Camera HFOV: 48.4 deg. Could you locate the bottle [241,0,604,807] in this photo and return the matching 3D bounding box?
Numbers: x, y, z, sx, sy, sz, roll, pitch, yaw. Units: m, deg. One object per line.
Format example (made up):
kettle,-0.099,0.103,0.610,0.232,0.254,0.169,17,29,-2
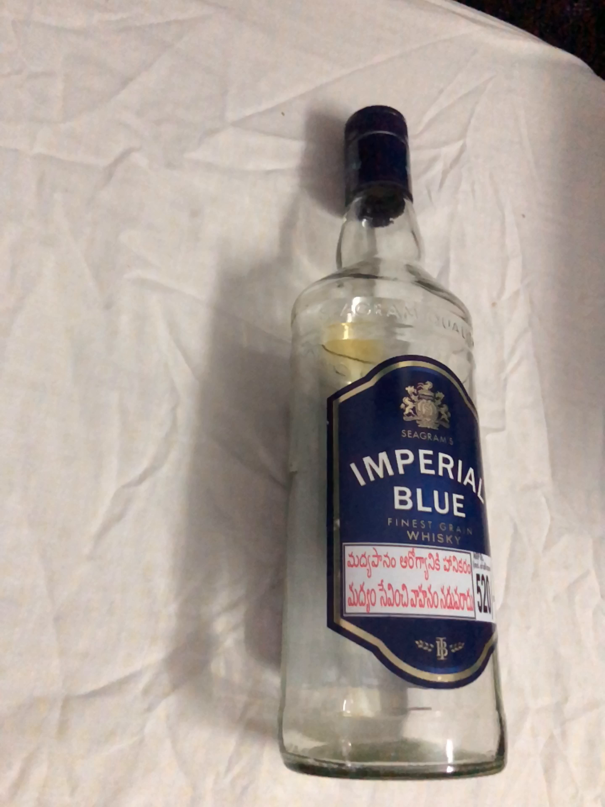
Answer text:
bottle,0.044,0.002,0.256,0.090,0.080,0.270,9,75,-19
